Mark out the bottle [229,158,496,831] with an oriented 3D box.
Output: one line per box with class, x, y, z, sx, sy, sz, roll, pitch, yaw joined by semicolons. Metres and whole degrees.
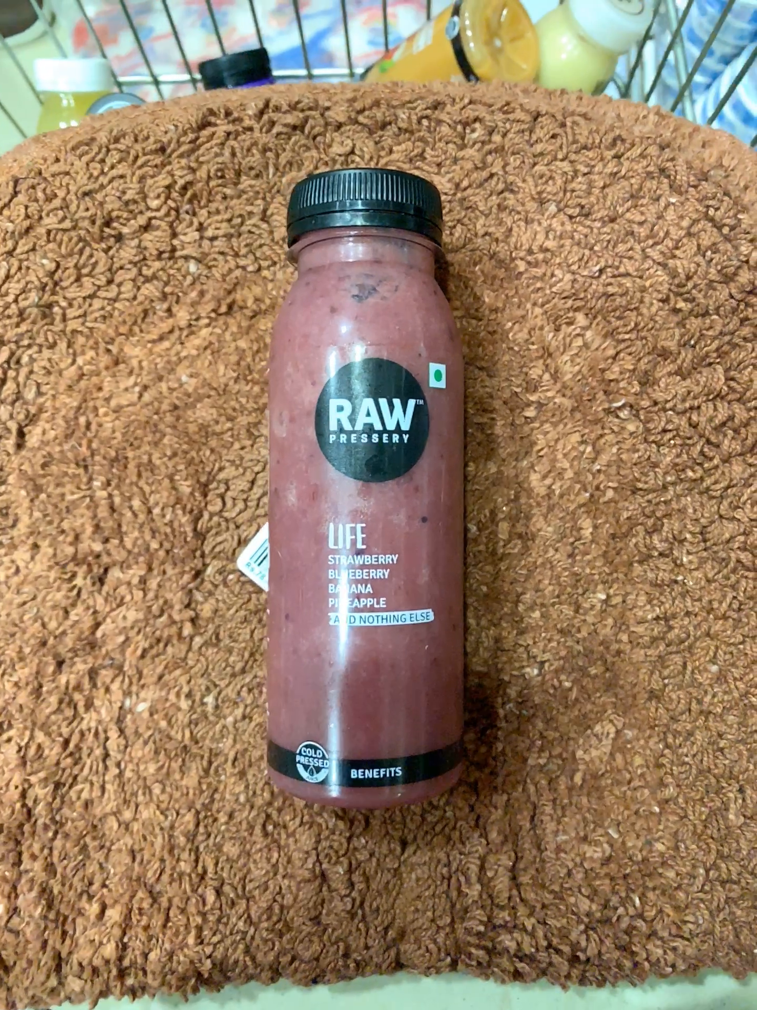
bottle;-0.006;-0.003;0.203;0.060;0.050;0.150;0;89;-5
